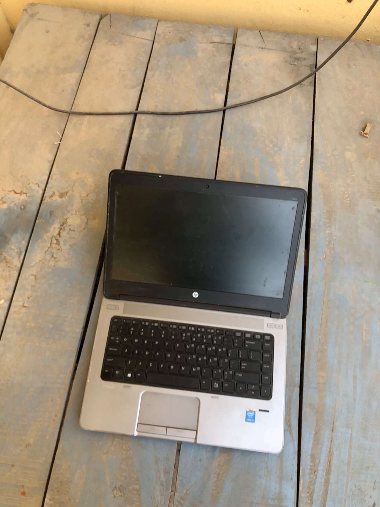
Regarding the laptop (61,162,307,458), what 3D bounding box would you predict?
[{"bbox_3d":[0.007,0.080,0.660,0.306,0.123,0.389,7,71,3],"label":"laptop"}]
